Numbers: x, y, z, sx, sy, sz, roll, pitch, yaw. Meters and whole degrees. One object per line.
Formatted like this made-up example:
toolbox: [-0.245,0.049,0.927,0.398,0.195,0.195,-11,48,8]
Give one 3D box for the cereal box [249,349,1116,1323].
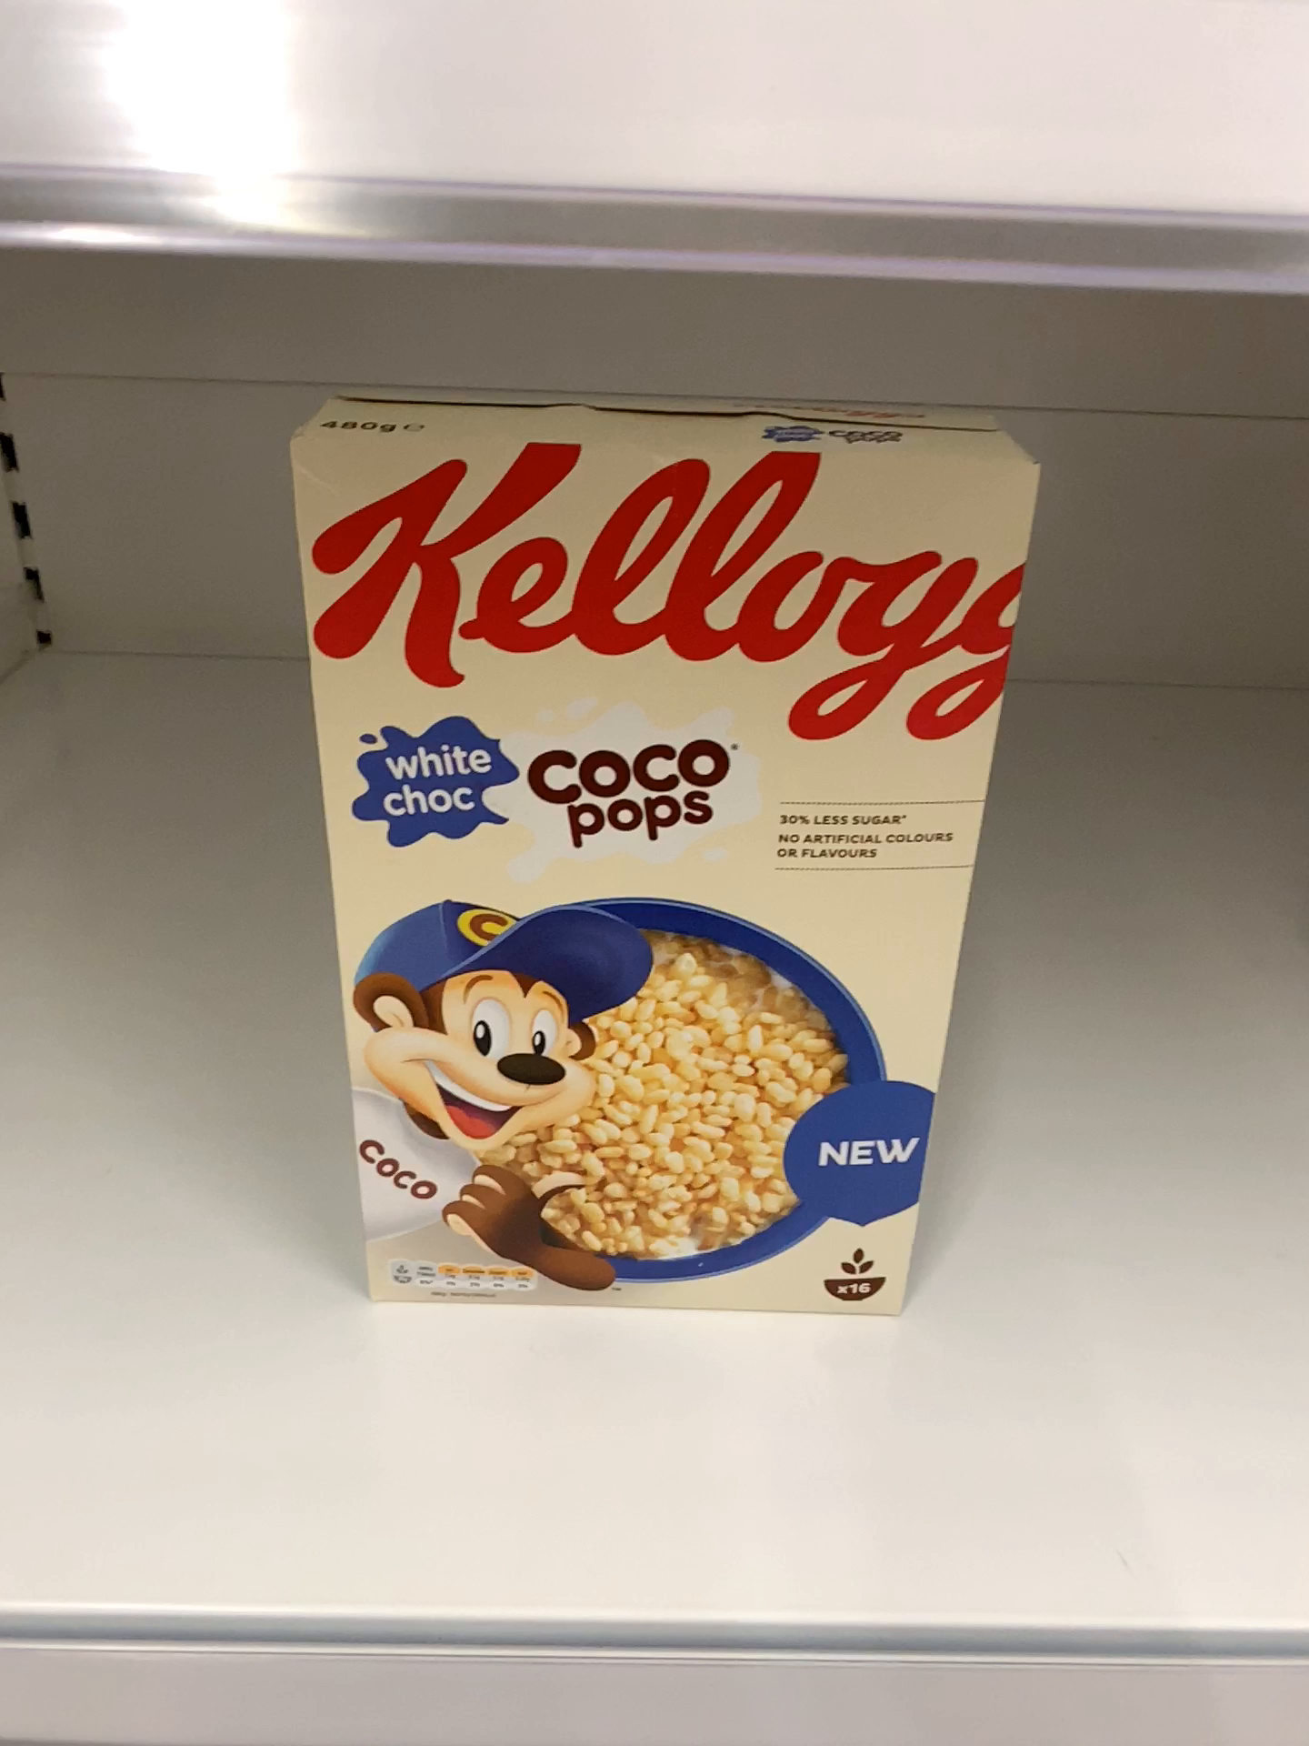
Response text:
cereal box: [0.002,0.002,0.424,0.210,0.297,0.071,2,27,0]
